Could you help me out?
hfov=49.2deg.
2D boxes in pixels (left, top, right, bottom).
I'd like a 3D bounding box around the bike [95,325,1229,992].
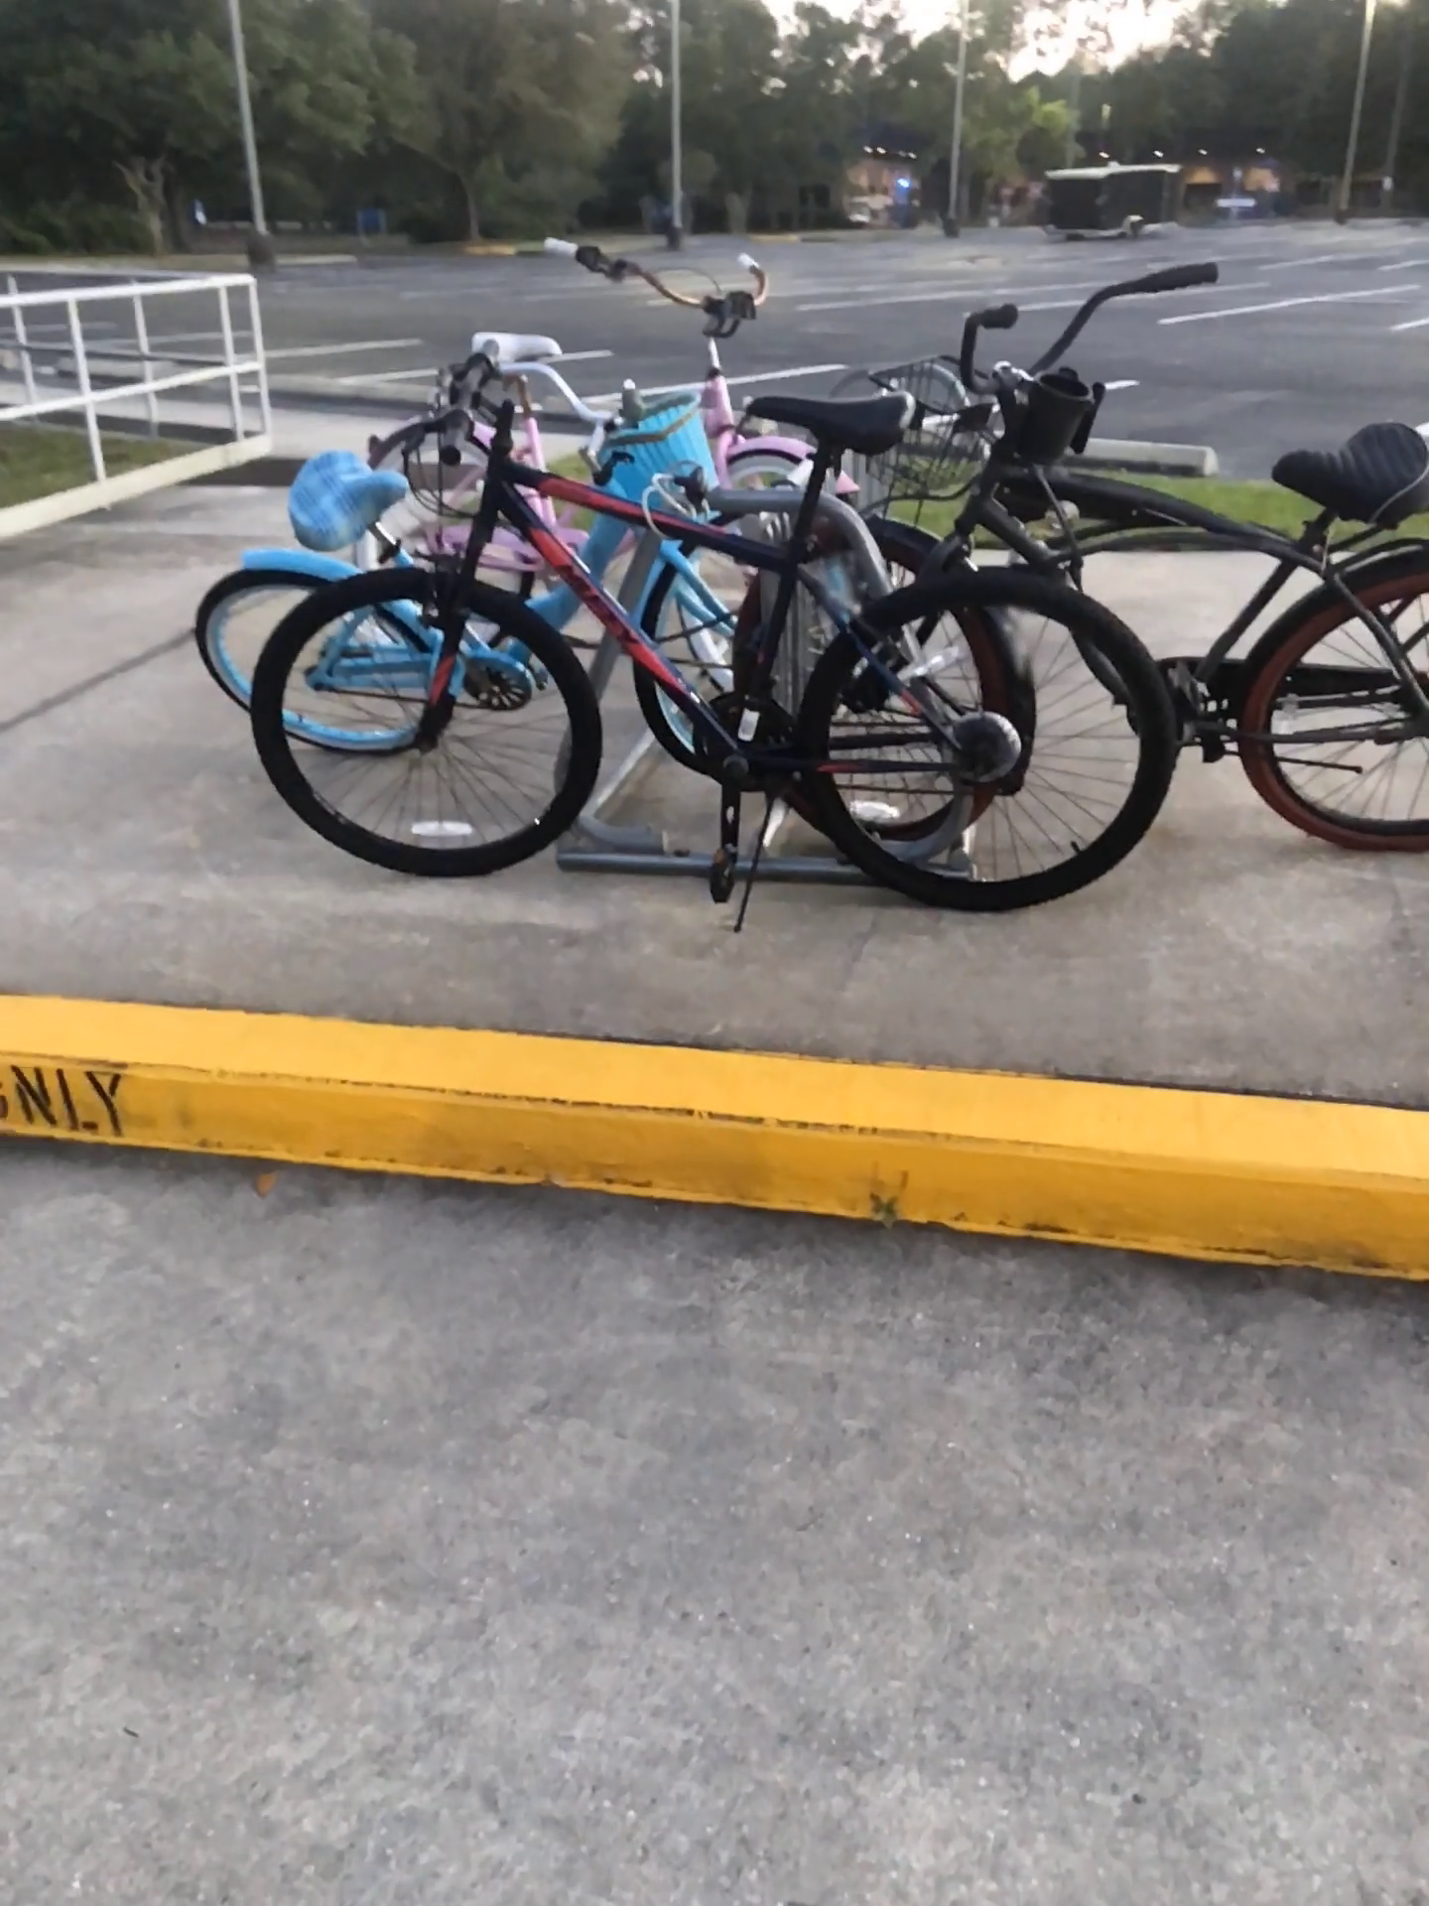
[{"bbox_3d":[-0.049,-0.547,2.686,1.629,0.932,0.627,3,25,7],"label":"bike"}]
